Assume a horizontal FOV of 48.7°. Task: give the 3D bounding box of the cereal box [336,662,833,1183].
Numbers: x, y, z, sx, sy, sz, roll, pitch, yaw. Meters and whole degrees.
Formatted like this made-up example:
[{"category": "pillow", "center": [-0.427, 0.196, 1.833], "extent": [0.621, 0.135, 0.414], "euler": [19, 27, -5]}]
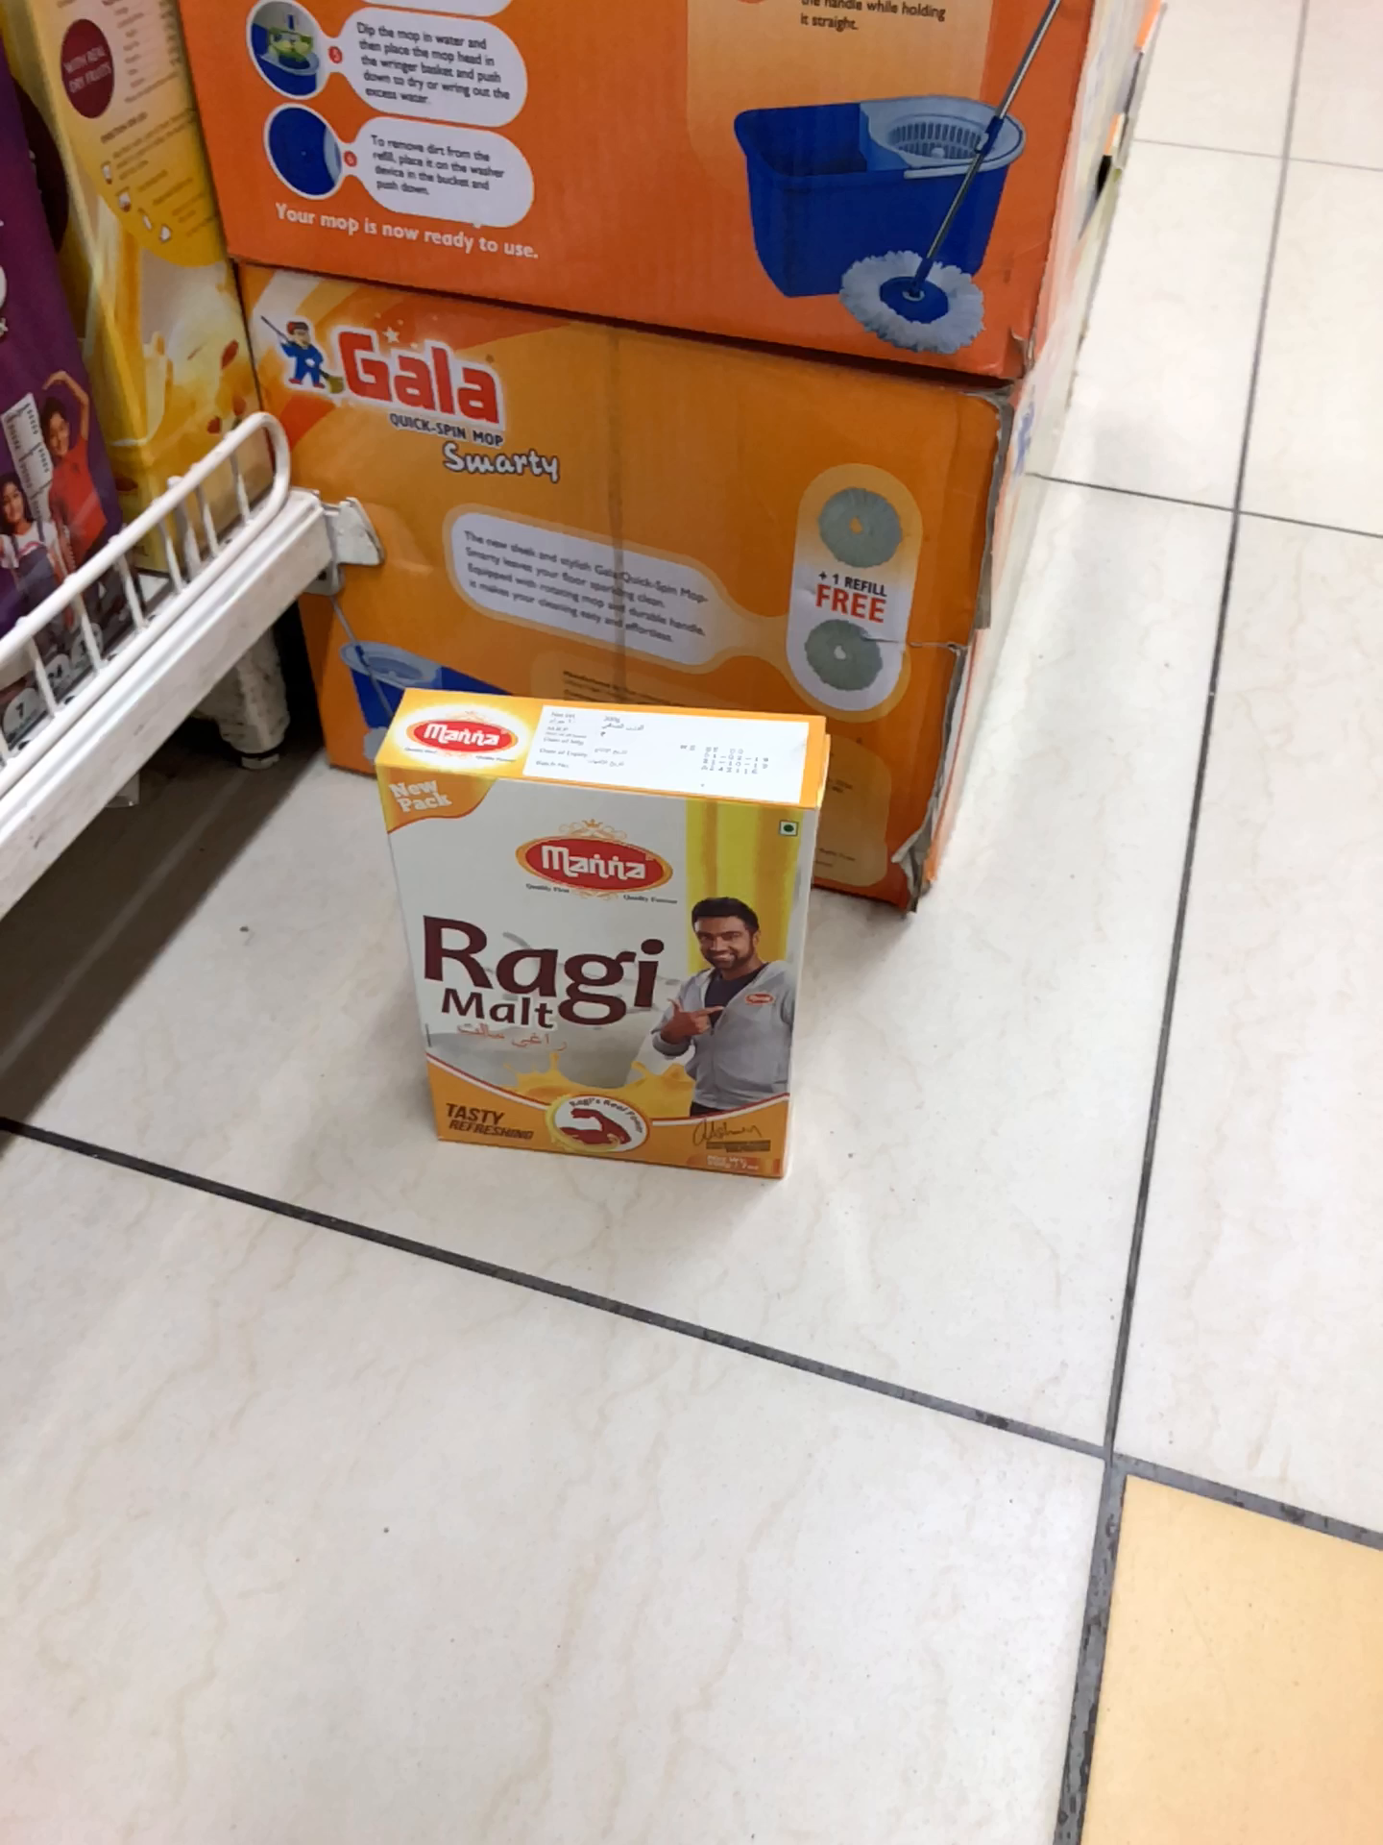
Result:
[{"category": "cereal box", "center": [-0.031, 0.007, 0.515], "extent": [0.140, 0.179, 0.050], "euler": [6, 45, 5]}]
